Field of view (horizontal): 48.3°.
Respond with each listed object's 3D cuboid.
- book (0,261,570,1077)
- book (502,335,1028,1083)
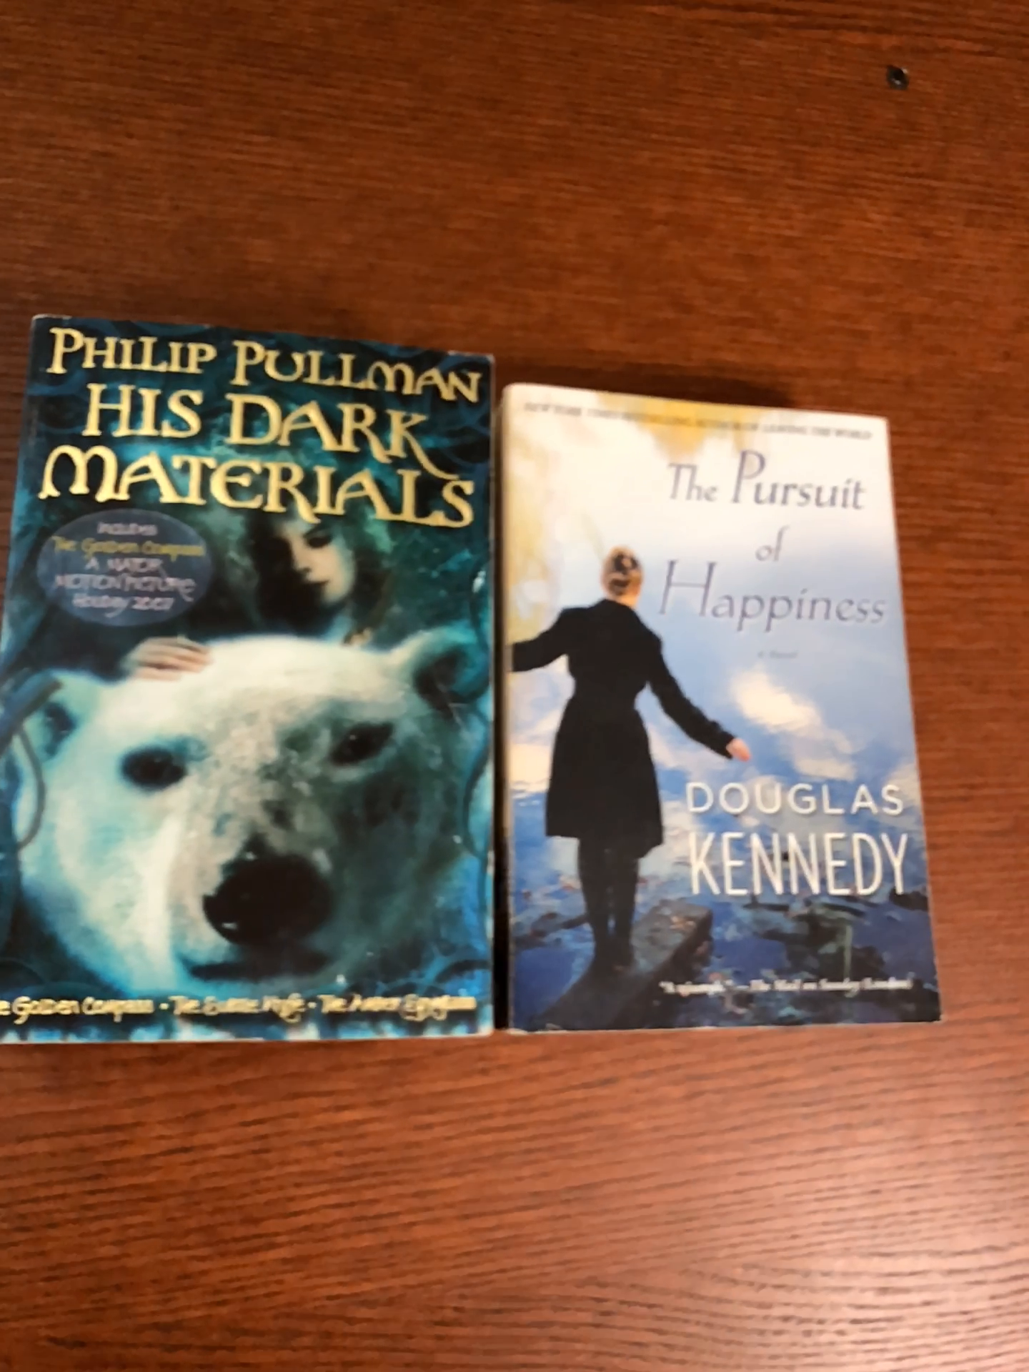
[{"bbox_3d":[-0.078,-0.006,0.384,0.180,0.050,0.250,2,76,-12],"label":"book"},{"bbox_3d":[0.089,0.006,0.413,0.180,0.040,0.250,2,76,-12],"label":"book"}]
